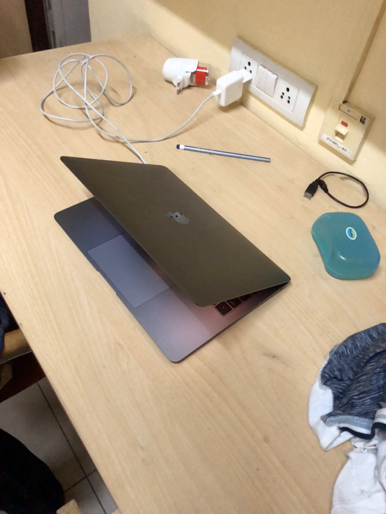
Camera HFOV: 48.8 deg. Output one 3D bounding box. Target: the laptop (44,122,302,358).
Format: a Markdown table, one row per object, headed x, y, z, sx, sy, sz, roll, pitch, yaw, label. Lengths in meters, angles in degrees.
| x | y | z | sx | sy | sz | roll | pitch | yaw | label |
| --- | --- | --- | --- | --- | --- | --- | --- | --- | --- |
| -0.038 | -0.044 | 0.584 | 0.193 | 0.094 | 0.294 | -30 | 59 | -27 | laptop |
